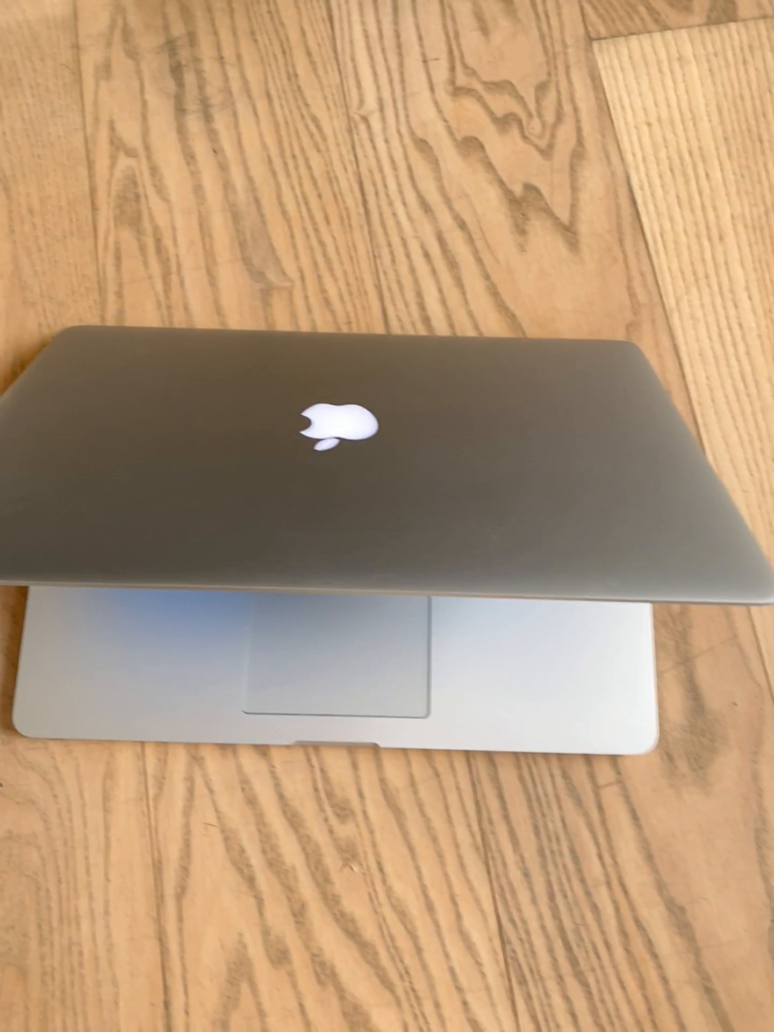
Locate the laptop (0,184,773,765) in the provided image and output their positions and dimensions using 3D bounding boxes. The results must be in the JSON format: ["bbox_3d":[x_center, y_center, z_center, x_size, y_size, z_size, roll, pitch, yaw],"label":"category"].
[{"bbox_3d":[-0.021,-0.007,0.400,0.361,0.157,0.236,2,77,-1],"label":"laptop"}]
